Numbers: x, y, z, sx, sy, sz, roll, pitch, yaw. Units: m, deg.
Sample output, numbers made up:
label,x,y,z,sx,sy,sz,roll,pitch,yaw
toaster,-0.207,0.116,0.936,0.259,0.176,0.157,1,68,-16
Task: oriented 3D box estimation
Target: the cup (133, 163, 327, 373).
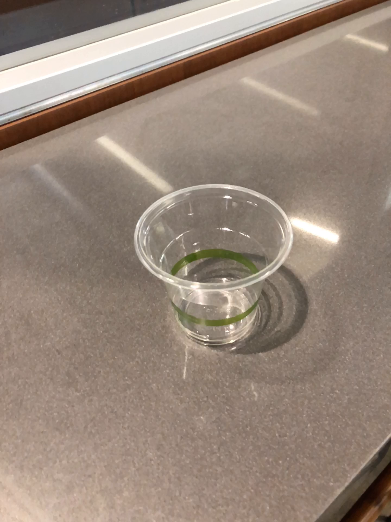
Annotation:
label,x,y,z,sx,sy,sz,roll,pitch,yaw
cup,0.013,0.002,0.217,0.070,0.060,0.070,-3,43,3
